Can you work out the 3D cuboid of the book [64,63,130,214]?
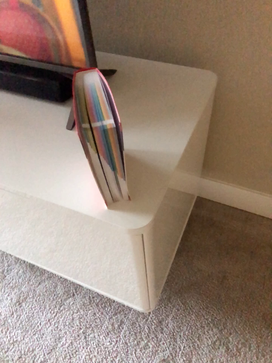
[{"bbox_3d":[-0.060,-0.065,0.482,0.060,0.179,0.151,-12,50,-5],"label":"book"}]
